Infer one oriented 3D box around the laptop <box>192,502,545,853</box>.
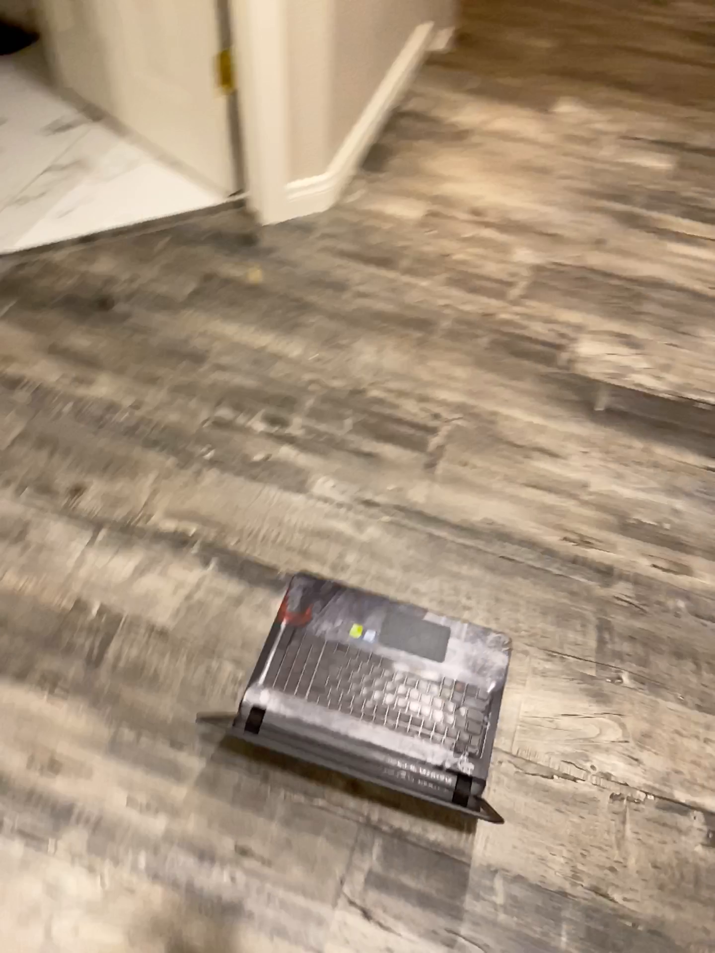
[{"bbox_3d":[0.026,0.276,1.020,0.371,0.225,0.328,16,55,8],"label":"laptop"}]
